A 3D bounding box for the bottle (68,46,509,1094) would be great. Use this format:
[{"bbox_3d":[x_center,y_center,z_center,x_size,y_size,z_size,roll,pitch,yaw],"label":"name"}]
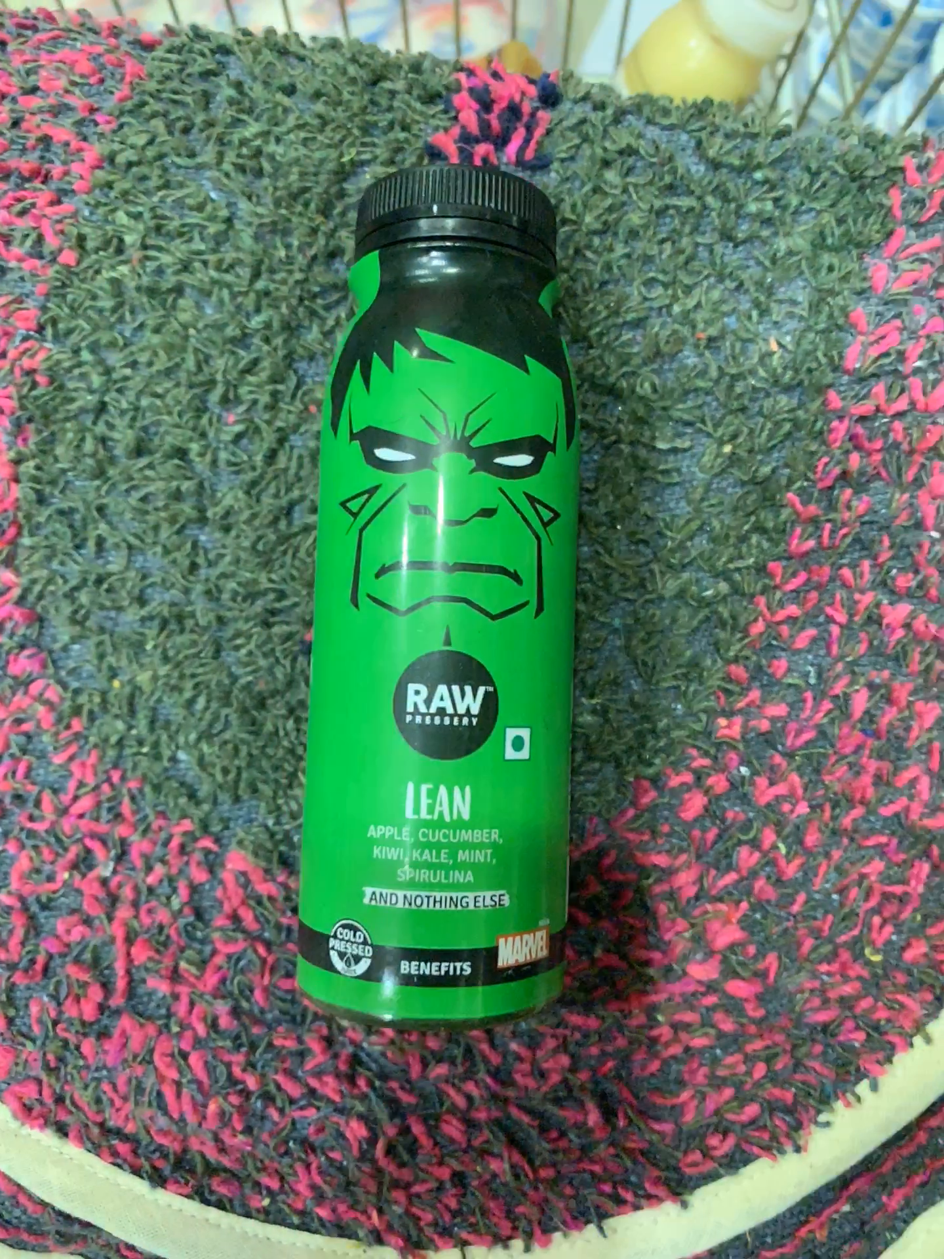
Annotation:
[{"bbox_3d":[-0.025,-0.011,0.175,0.060,0.050,0.160,1,84,2],"label":"bottle"}]
